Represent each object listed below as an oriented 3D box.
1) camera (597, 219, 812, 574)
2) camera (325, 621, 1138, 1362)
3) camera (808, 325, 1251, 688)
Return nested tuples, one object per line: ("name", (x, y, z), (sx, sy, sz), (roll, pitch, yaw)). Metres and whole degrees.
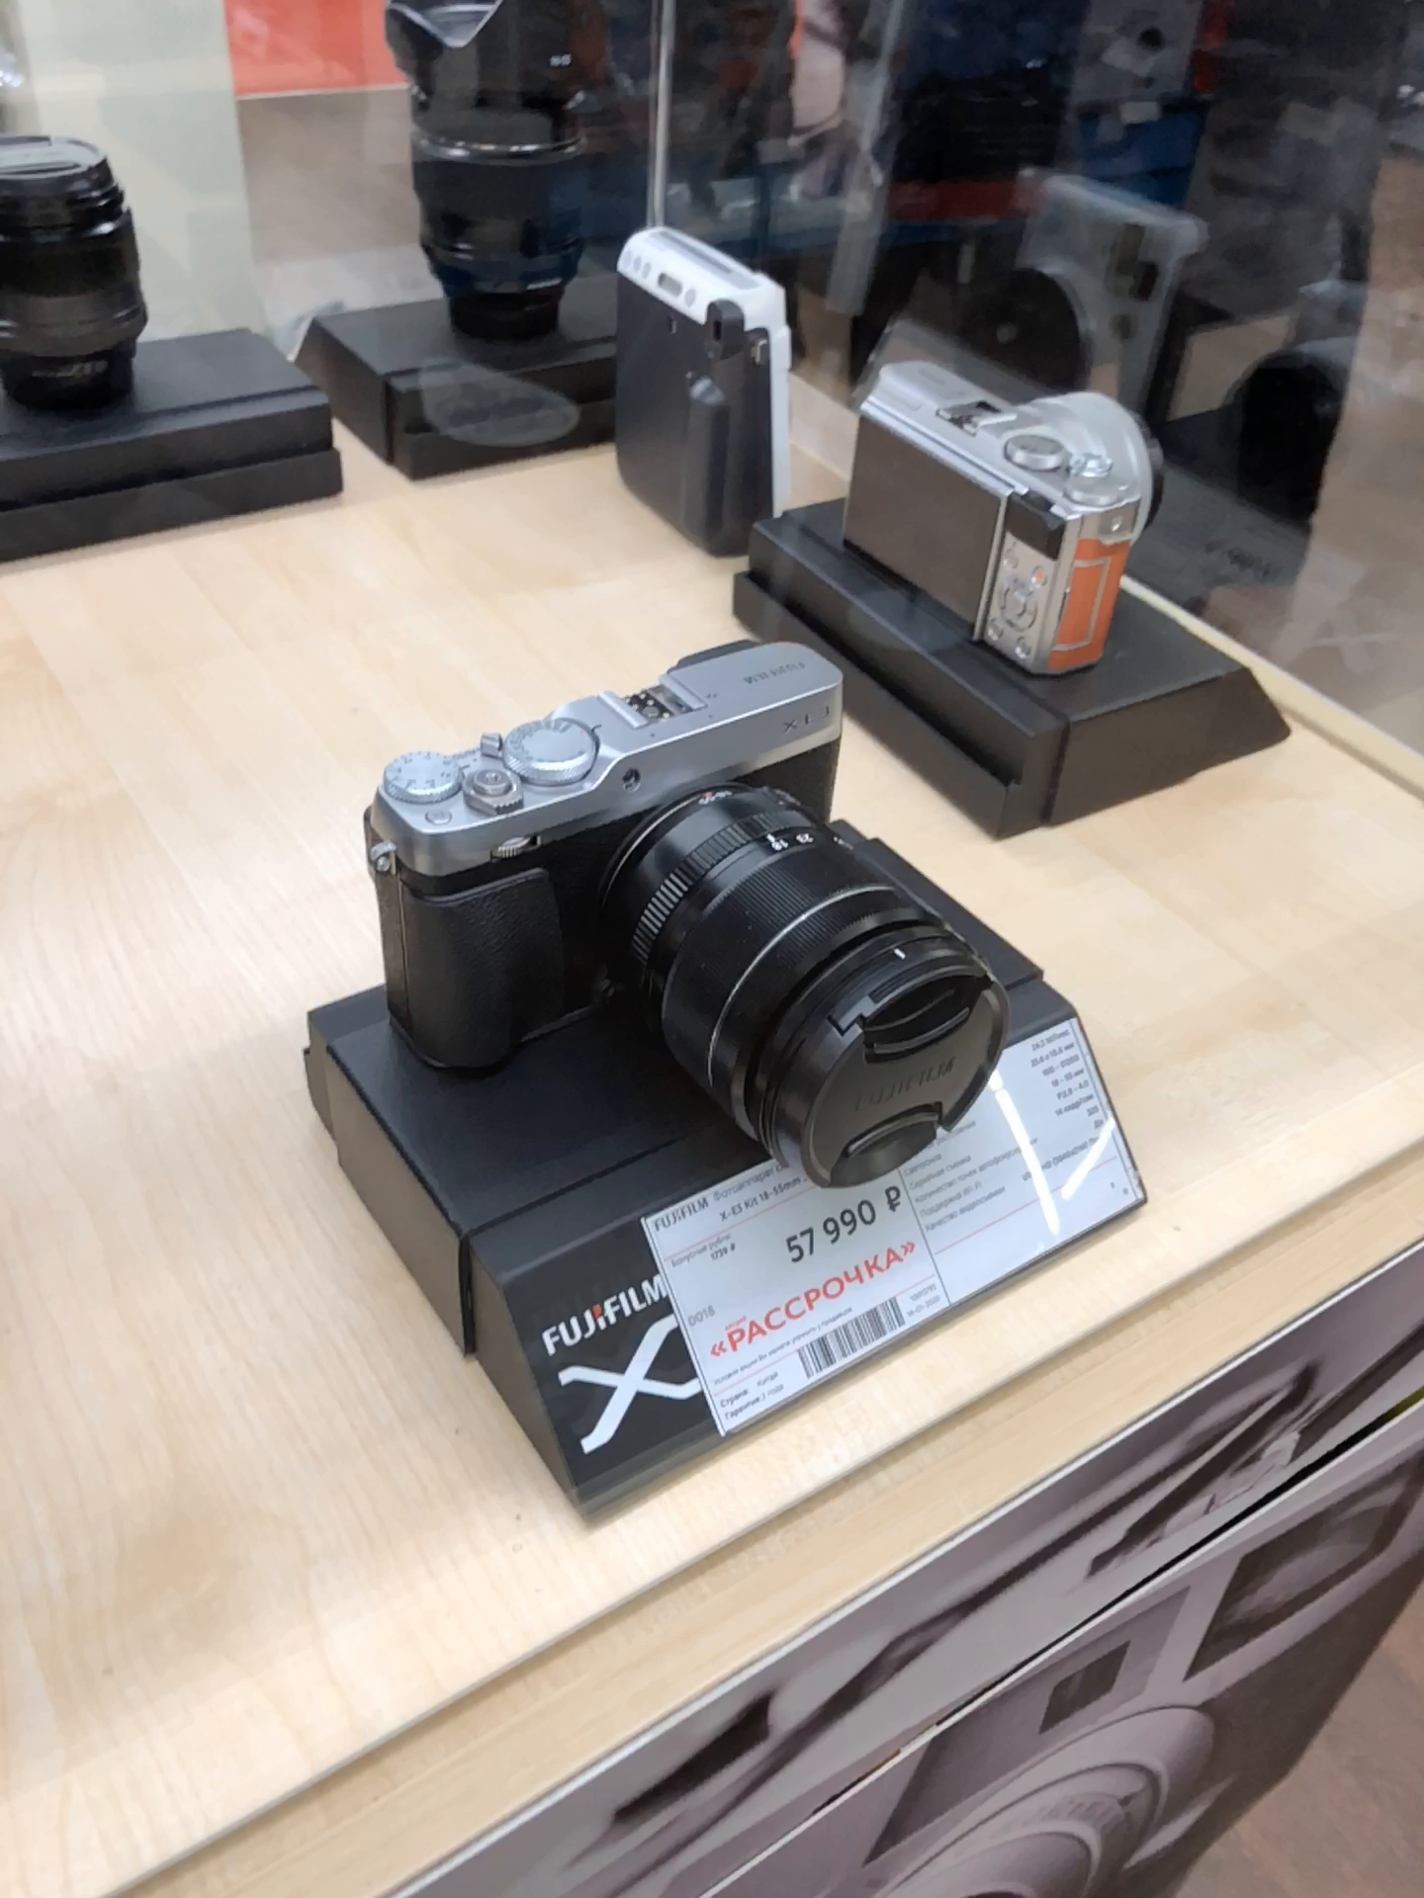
("camera", (-0.006, -0.227, 0.648), (0.045, 0.109, 0.088), (-20, 46, -24))
("camera", (0.000, 0.000, 0.361), (0.132, 0.080, 0.116), (-21, 46, -28))
("camera", (0.106, -0.162, 0.561), (0.077, 0.068, 0.132), (-19, 45, -26))
